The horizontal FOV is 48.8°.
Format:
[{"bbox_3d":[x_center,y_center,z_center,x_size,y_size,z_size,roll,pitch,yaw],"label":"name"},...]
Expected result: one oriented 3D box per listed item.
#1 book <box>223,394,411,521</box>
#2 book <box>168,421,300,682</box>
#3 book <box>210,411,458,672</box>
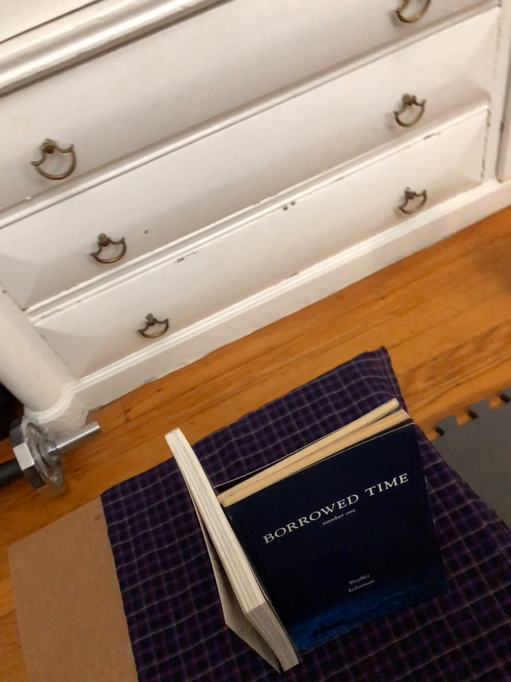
[{"bbox_3d":[0.052,0.107,0.474,0.140,0.199,0.010,-28,69,-4],"label":"book"},{"bbox_3d":[-0.013,0.170,0.439,0.020,0.189,0.141,-24,50,-11],"label":"book"},{"bbox_3d":[0.071,0.162,0.429,0.150,0.199,0.010,-24,30,-4],"label":"book"}]
